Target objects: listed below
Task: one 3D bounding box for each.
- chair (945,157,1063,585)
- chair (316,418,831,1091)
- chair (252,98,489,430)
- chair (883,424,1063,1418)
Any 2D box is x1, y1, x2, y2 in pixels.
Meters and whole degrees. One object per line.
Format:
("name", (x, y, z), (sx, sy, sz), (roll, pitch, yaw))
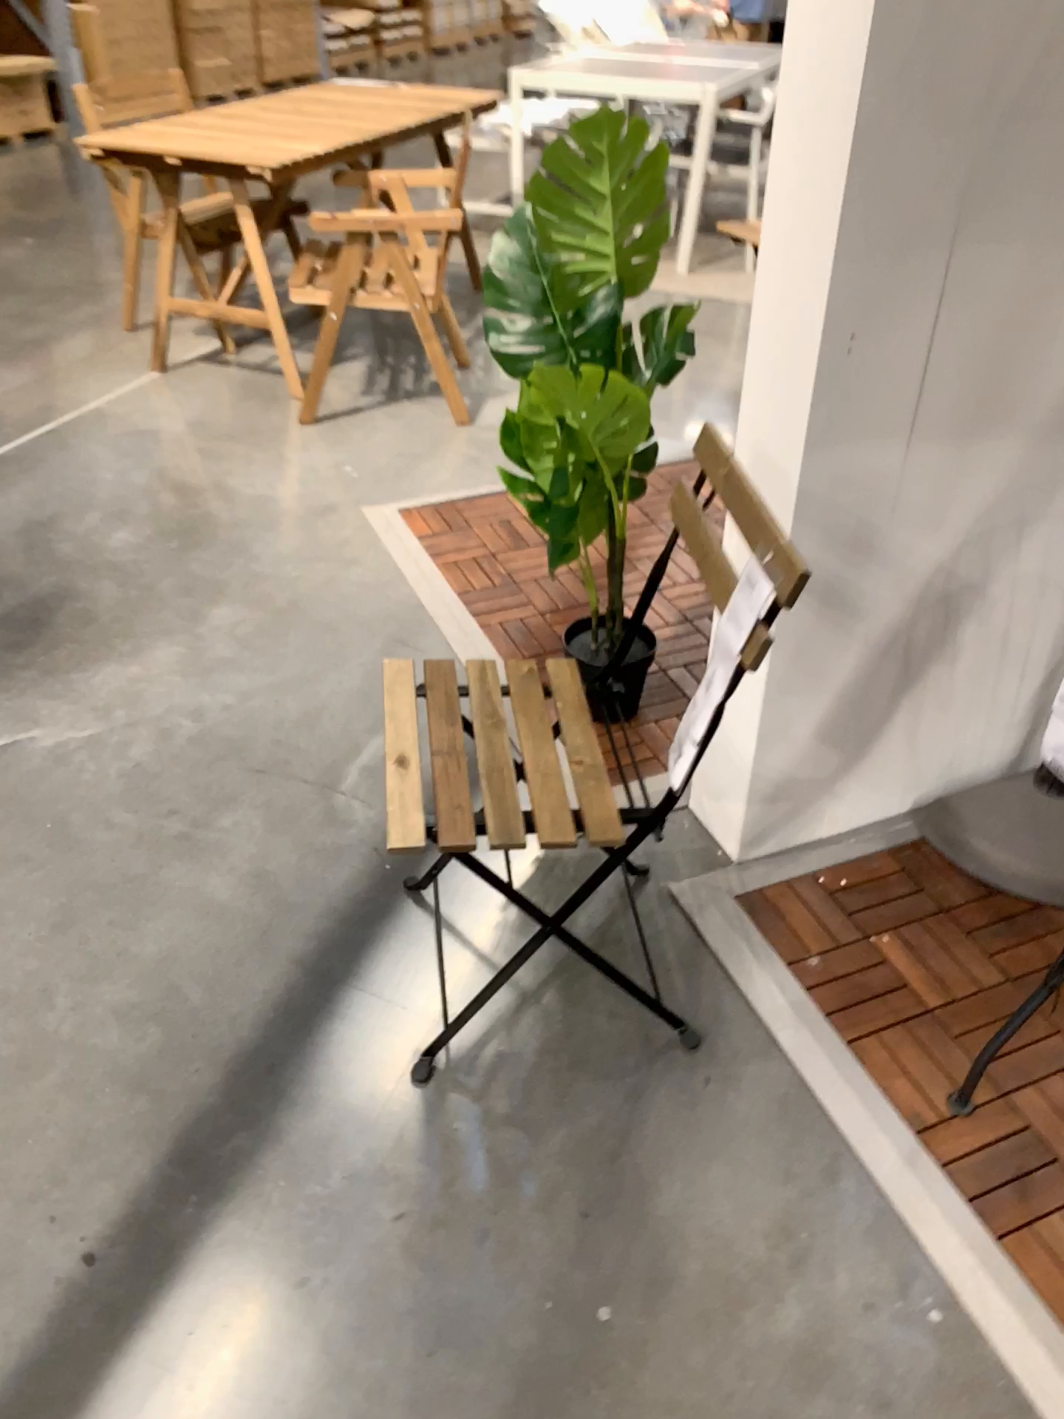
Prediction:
("chair", (1.405, -0.828, 2.652), (0.507, 0.811, 0.500), (17, 39, 21))
("chair", (0.014, 0.064, 1.376), (0.476, 0.722, 0.410), (-3, 36, -6))
("chair", (-0.445, -1.380, 3.376), (0.606, 0.811, 0.641), (0, 36, -1))
("chair", (0.771, 0.236, 1.088), (0.398, 0.821, 0.559), (-13, 38, -19))
